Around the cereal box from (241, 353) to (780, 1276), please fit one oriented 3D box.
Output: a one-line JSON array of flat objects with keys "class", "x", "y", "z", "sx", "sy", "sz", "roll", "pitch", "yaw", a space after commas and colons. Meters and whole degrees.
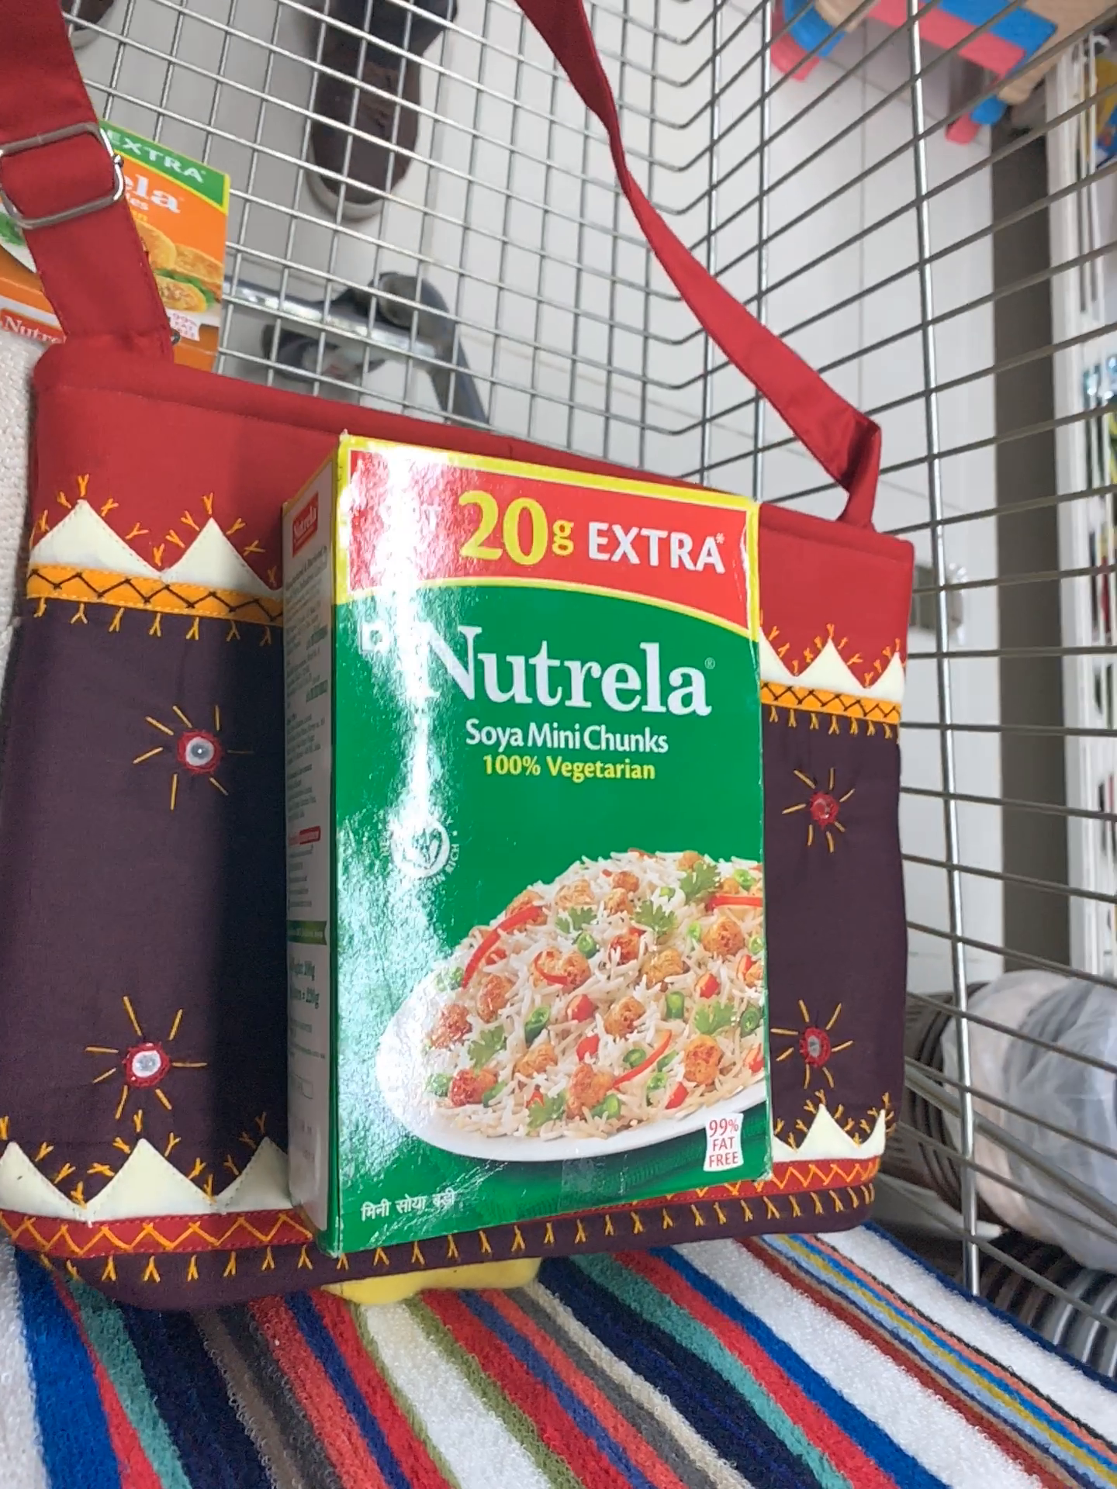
[{"class": "cereal box", "x": -0.013, "y": 0.015, "z": 0.287, "sx": 0.120, "sy": 0.050, "sz": 0.190, "roll": 2, "pitch": 83, "yaw": -28}]
